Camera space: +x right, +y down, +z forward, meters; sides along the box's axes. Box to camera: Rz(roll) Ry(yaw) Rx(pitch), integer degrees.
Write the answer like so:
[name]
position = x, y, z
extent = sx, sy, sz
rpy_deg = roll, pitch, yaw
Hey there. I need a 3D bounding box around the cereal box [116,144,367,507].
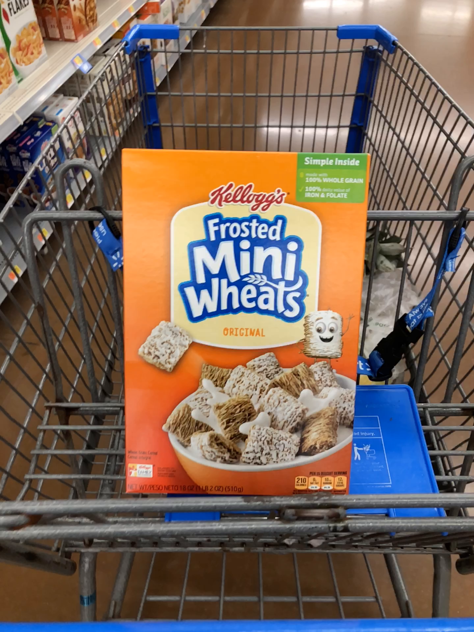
[cereal box]
position = 0.001, 0.010, 0.451
extent = 0.190, 0.290, 0.070
rpy_deg = 1, 8, -2
